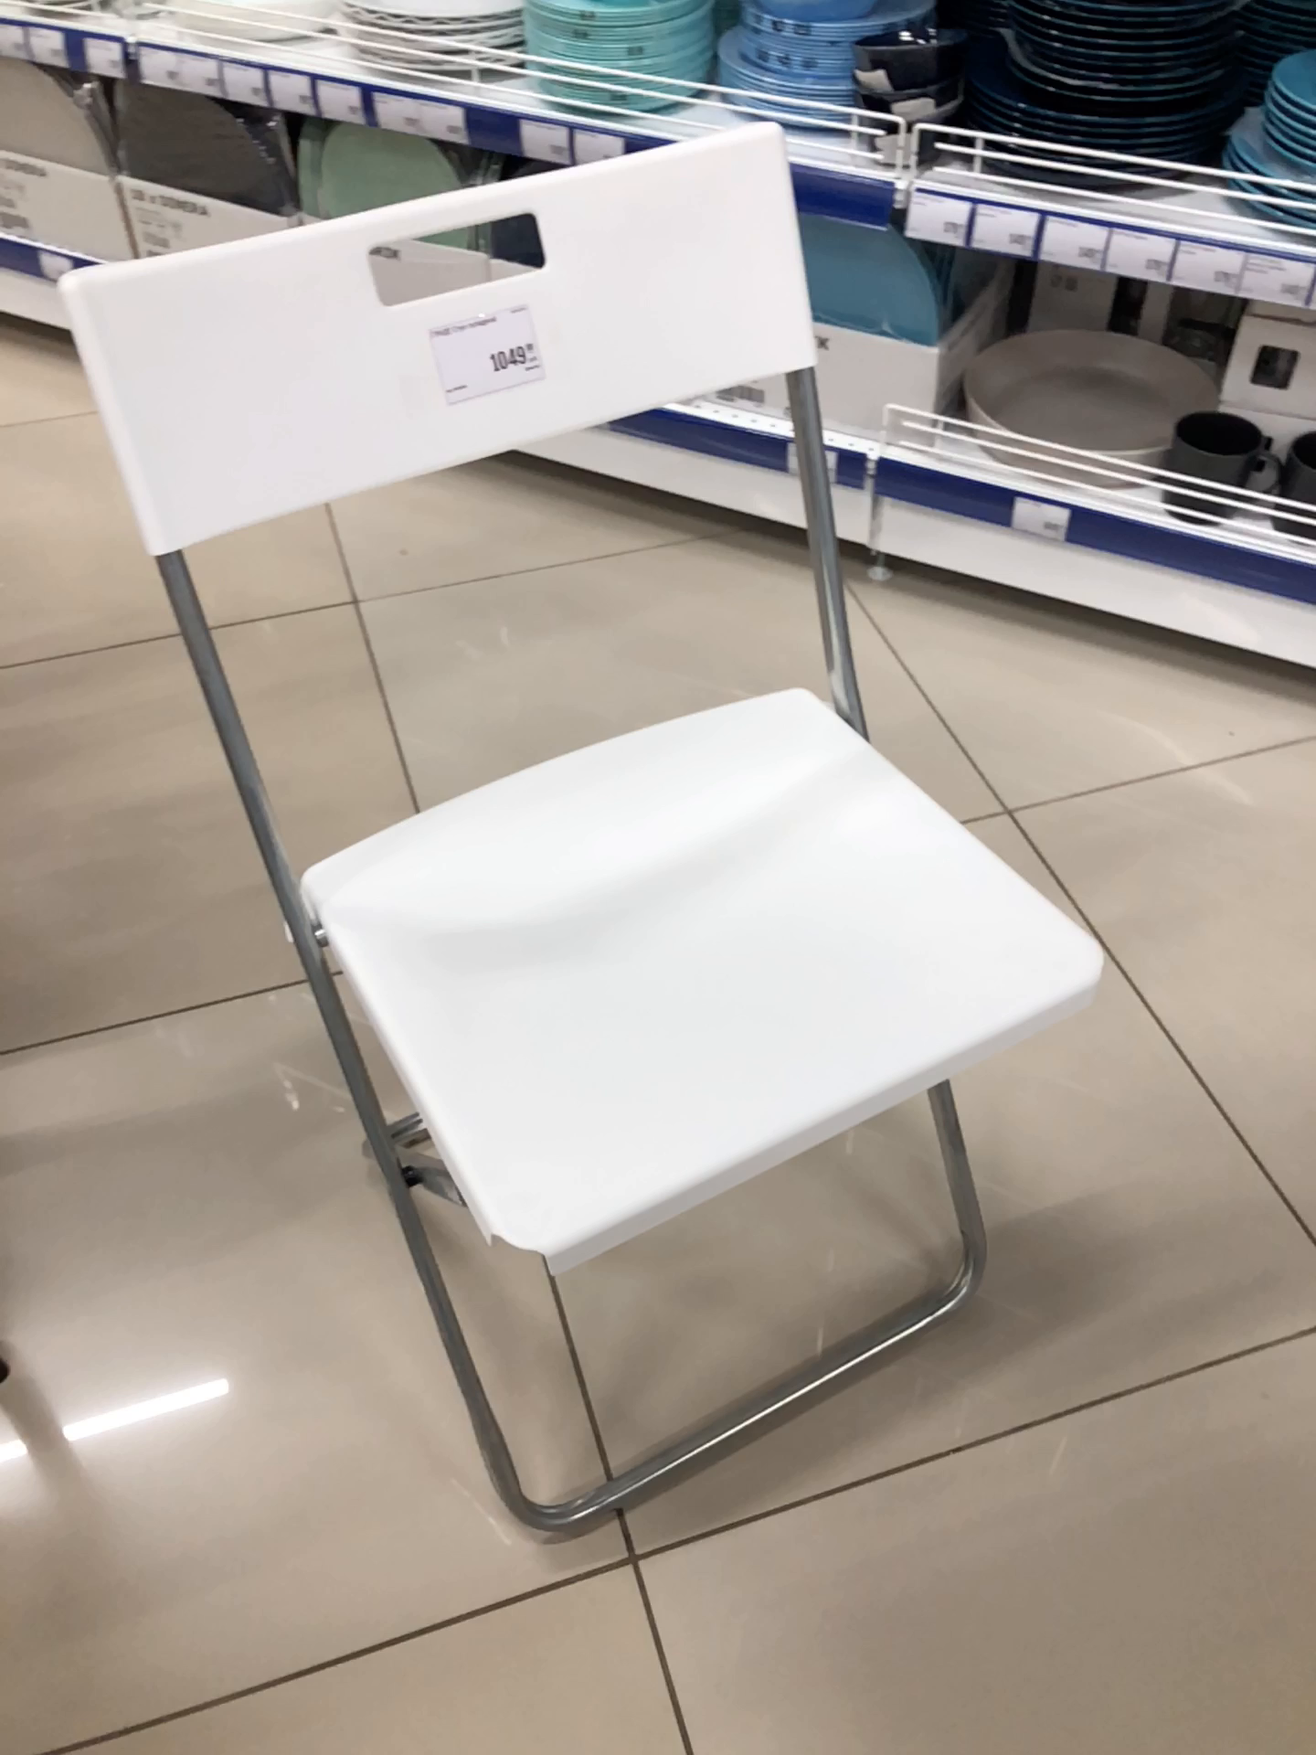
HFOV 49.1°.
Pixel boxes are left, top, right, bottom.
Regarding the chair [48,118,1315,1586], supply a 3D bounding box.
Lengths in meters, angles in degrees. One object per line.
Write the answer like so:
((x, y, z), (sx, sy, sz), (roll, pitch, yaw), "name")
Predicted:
((-0.006, 0.009, 0.902), (0.426, 0.711, 0.432), (-22, 49, -19), "chair")
